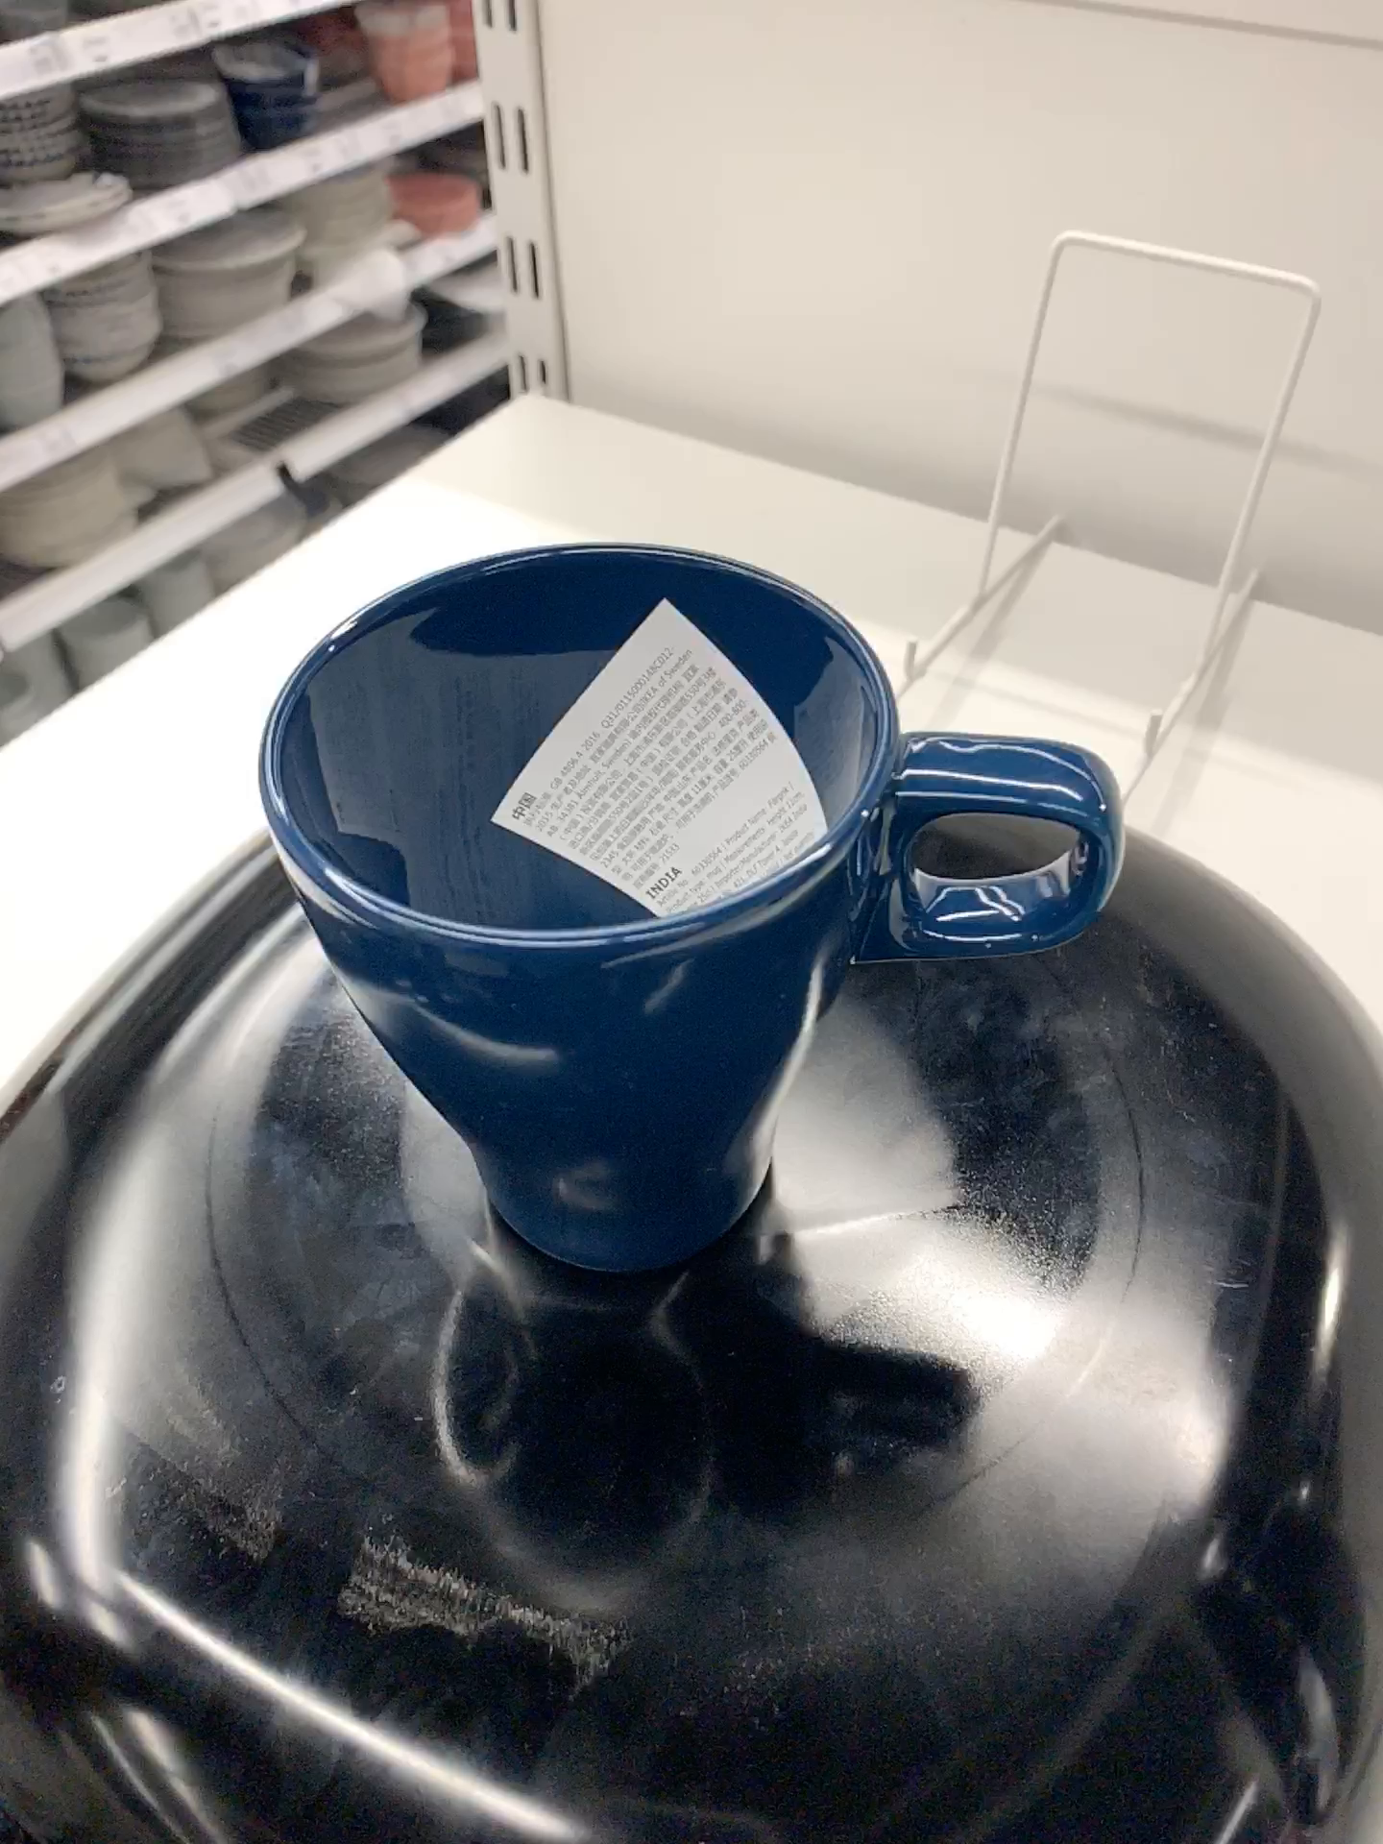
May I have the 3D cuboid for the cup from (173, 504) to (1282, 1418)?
[{"bbox_3d":[0.001,0.005,0.221,0.120,0.100,0.090,-3,44,-4],"label":"cup"}]
